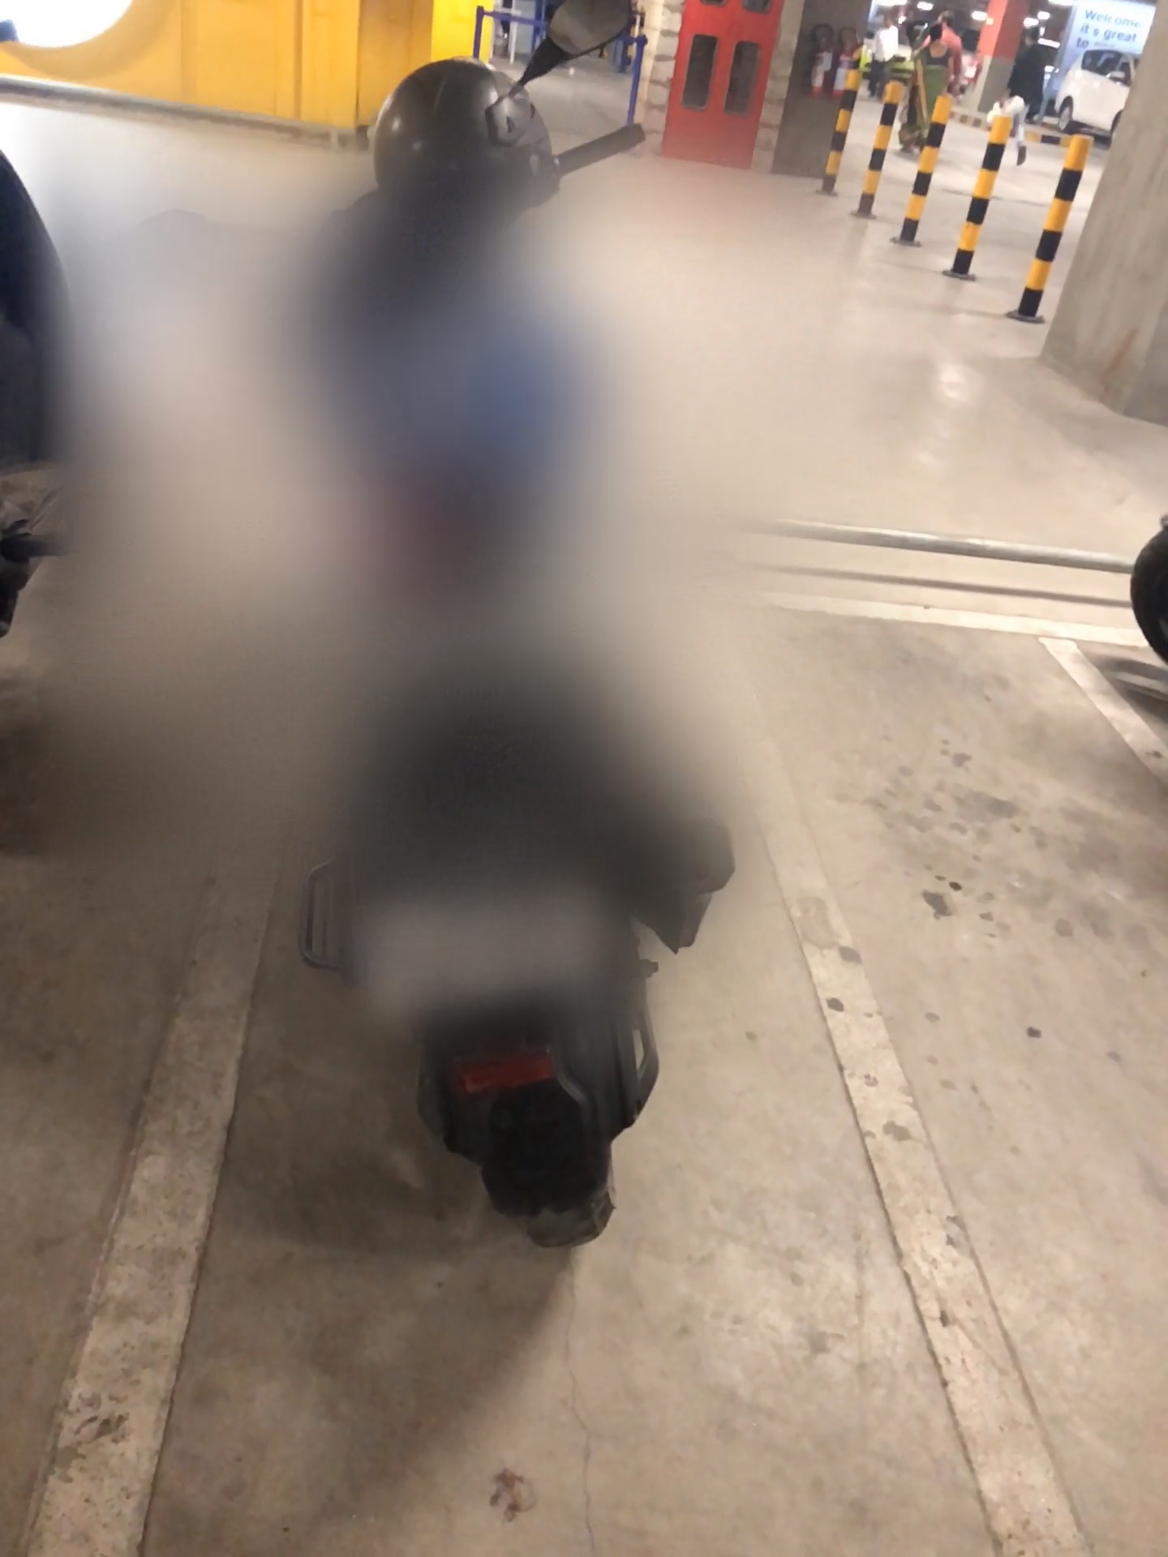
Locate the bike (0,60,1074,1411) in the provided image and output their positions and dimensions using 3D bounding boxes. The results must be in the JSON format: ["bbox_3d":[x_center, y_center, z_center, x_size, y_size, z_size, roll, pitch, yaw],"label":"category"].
[{"bbox_3d":[-0.327,-0.324,1.951,0.806,1.162,1.996,1,31,-13],"label":"bike"}]
